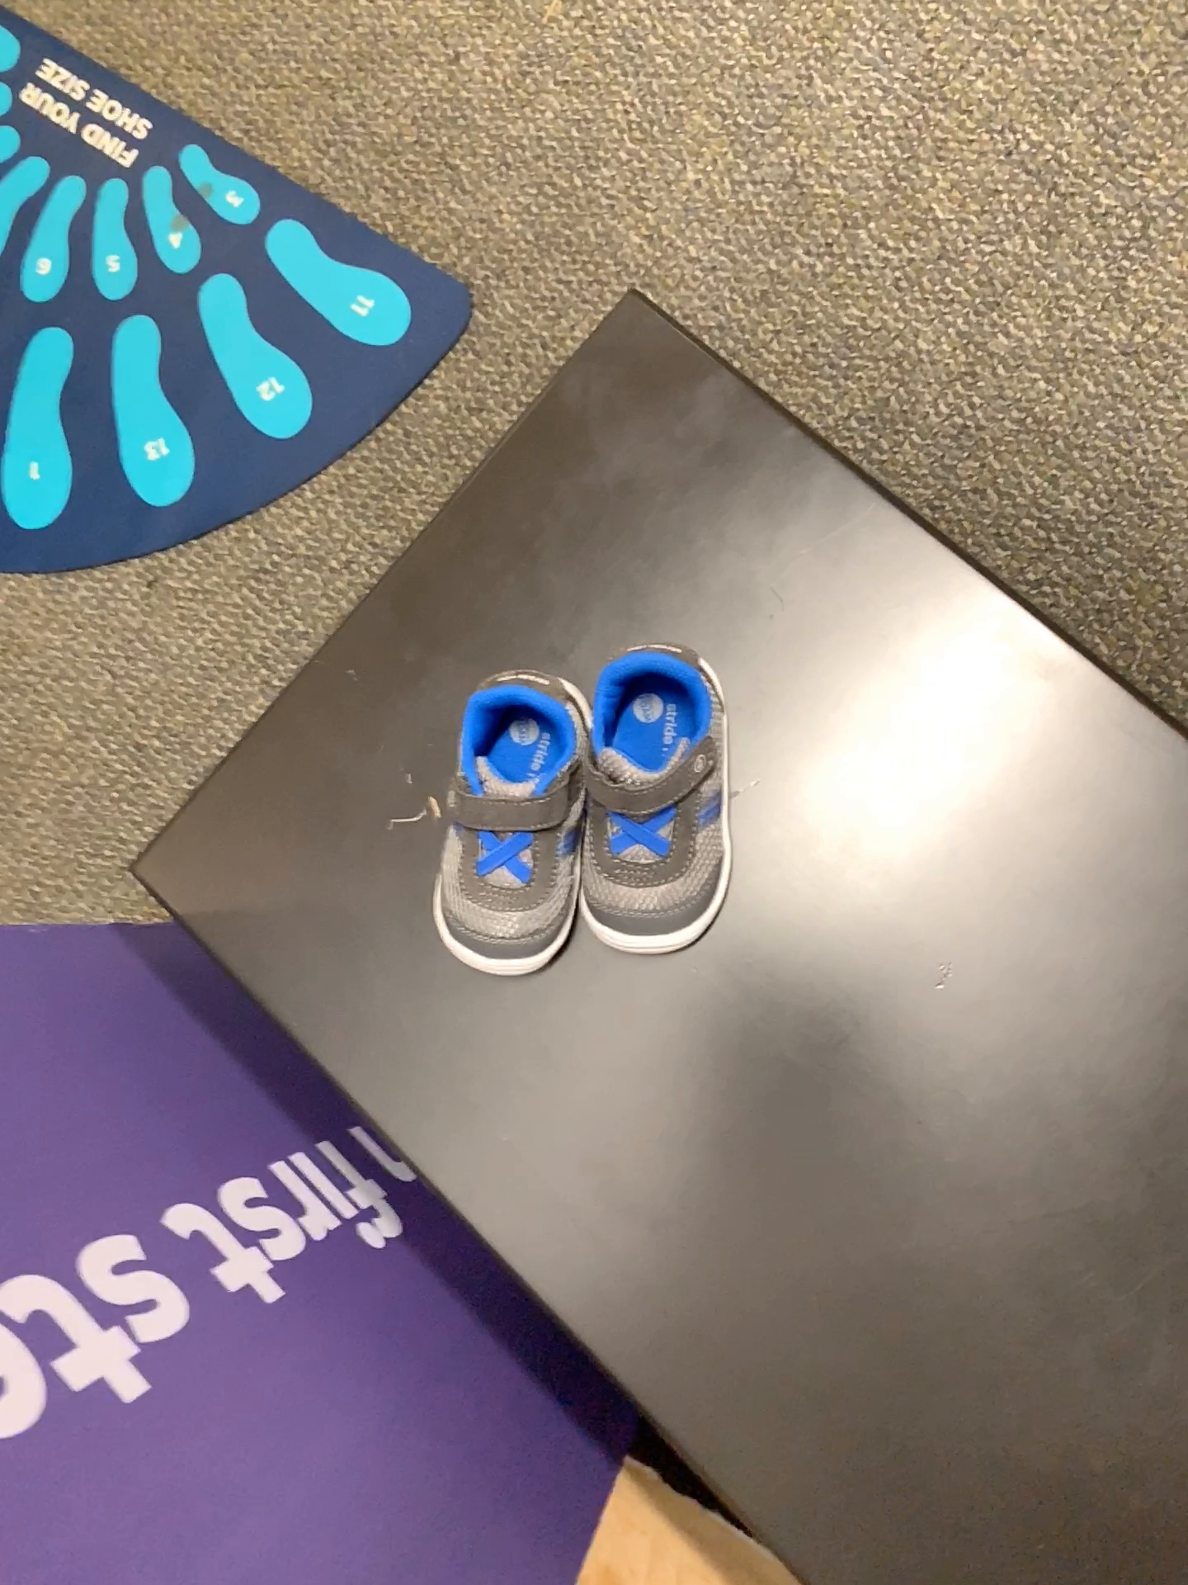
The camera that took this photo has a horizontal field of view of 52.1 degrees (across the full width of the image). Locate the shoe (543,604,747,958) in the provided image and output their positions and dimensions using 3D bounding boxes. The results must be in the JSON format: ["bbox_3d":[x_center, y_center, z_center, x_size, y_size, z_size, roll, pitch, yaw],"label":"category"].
[{"bbox_3d":[0.024,-0.004,0.516,0.070,0.060,0.140,2,85,12],"label":"shoe"}]

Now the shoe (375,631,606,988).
[{"bbox_3d":[-0.042,0.008,0.525,0.070,0.060,0.140,5,86,12],"label":"shoe"}]
